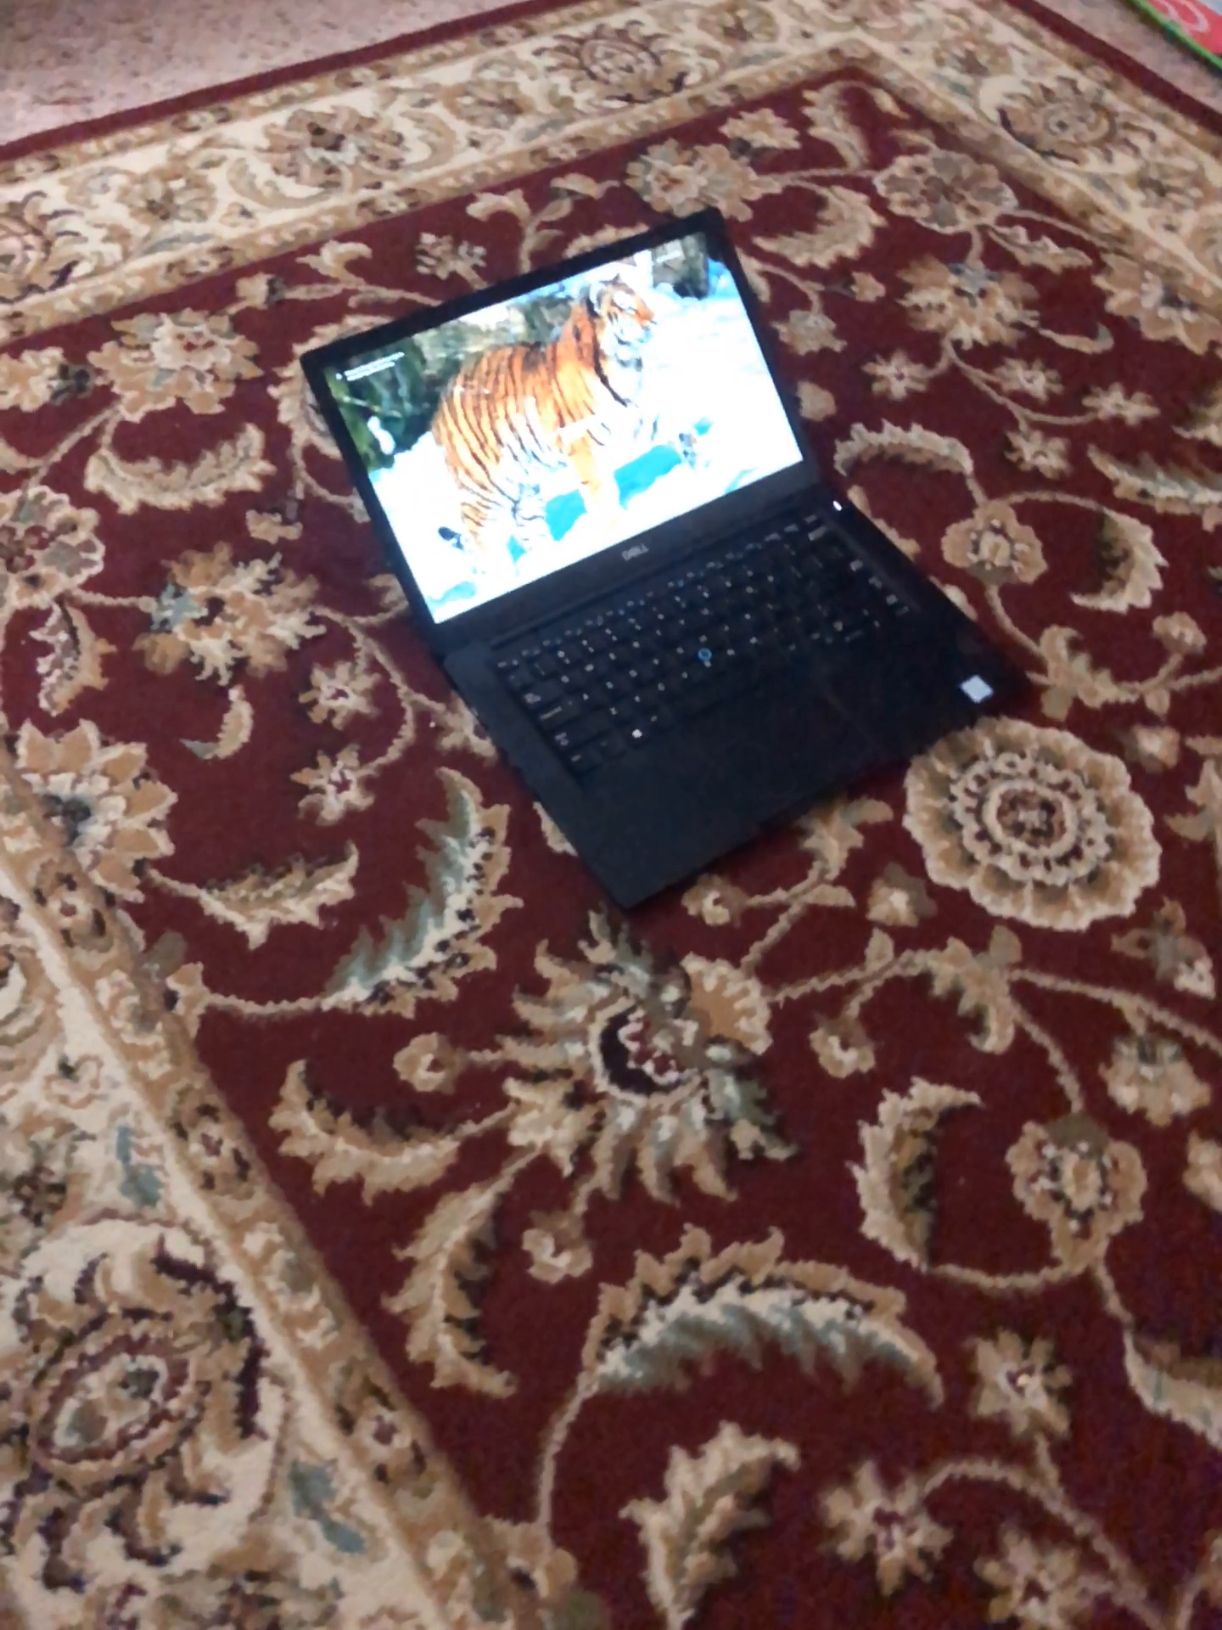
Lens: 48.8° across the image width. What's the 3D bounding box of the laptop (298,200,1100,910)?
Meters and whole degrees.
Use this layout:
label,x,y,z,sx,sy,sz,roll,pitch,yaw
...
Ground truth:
label,x,y,z,sx,sy,sz,roll,pitch,yaw
laptop,0.042,-0.190,0.870,0.328,0.124,0.384,-28,64,-20
